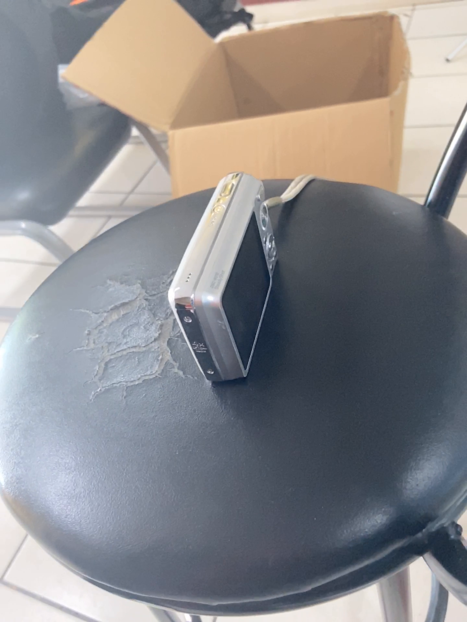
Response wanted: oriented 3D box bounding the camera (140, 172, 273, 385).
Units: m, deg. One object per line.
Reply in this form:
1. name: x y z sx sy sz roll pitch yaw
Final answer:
1. camera: -0.007 -0.018 0.223 0.026 0.044 0.093 2 47 19
